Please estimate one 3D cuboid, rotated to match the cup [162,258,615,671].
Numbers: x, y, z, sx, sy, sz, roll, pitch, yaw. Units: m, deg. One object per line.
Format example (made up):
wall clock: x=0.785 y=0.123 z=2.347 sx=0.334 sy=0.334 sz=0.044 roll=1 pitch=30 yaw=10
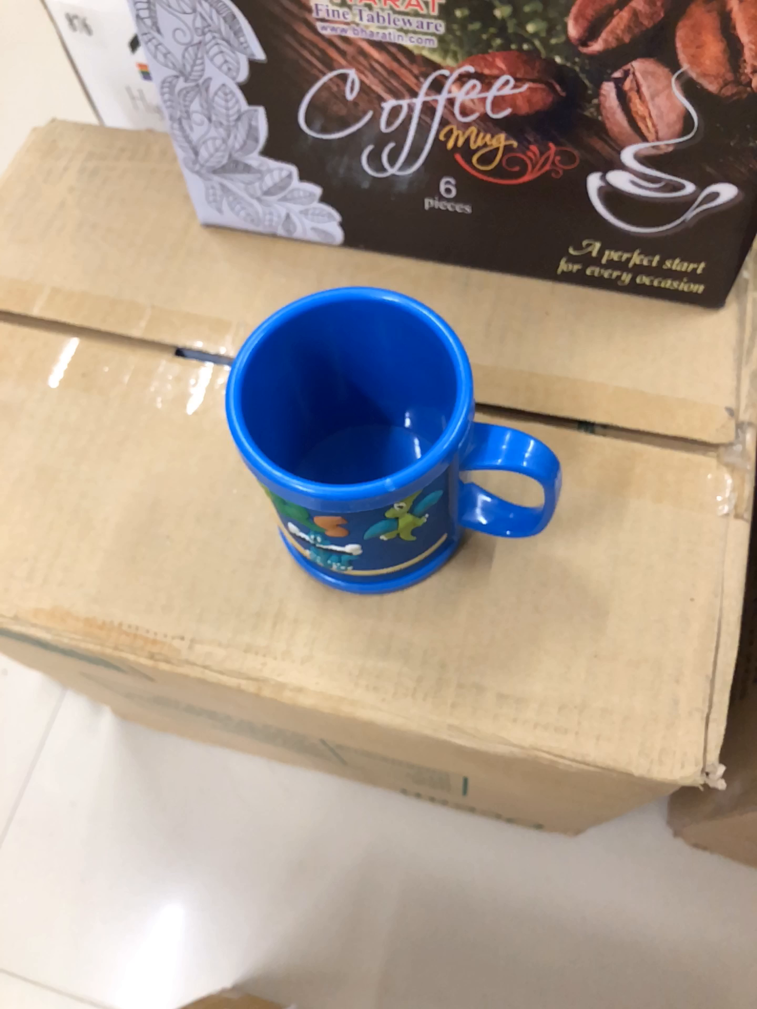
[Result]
cup: x=0.008 y=-0.012 z=0.309 sx=0.120 sy=0.090 sz=0.090 roll=17 pitch=68 yaw=13
